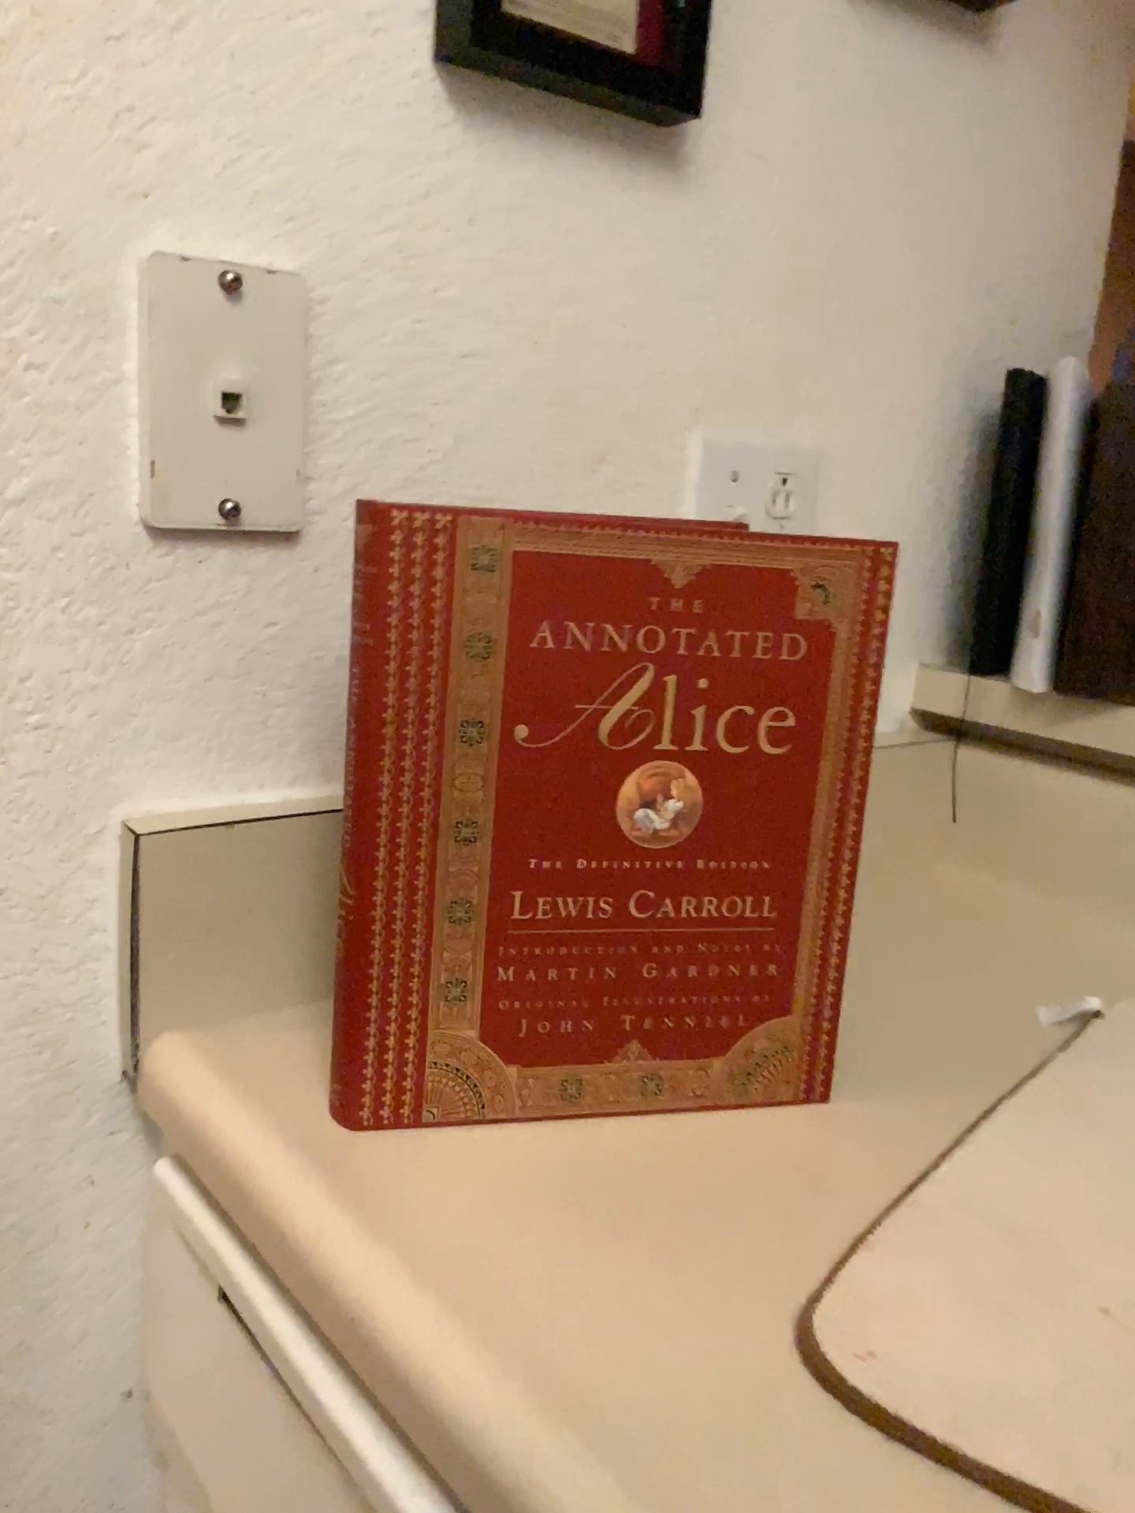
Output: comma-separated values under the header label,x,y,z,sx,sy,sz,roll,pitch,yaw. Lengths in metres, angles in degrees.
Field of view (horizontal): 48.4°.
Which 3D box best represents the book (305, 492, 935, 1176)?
label,x,y,z,sx,sy,sz,roll,pitch,yaw
book,0.010,0.021,0.579,0.230,0.260,0.150,-1,14,-20
